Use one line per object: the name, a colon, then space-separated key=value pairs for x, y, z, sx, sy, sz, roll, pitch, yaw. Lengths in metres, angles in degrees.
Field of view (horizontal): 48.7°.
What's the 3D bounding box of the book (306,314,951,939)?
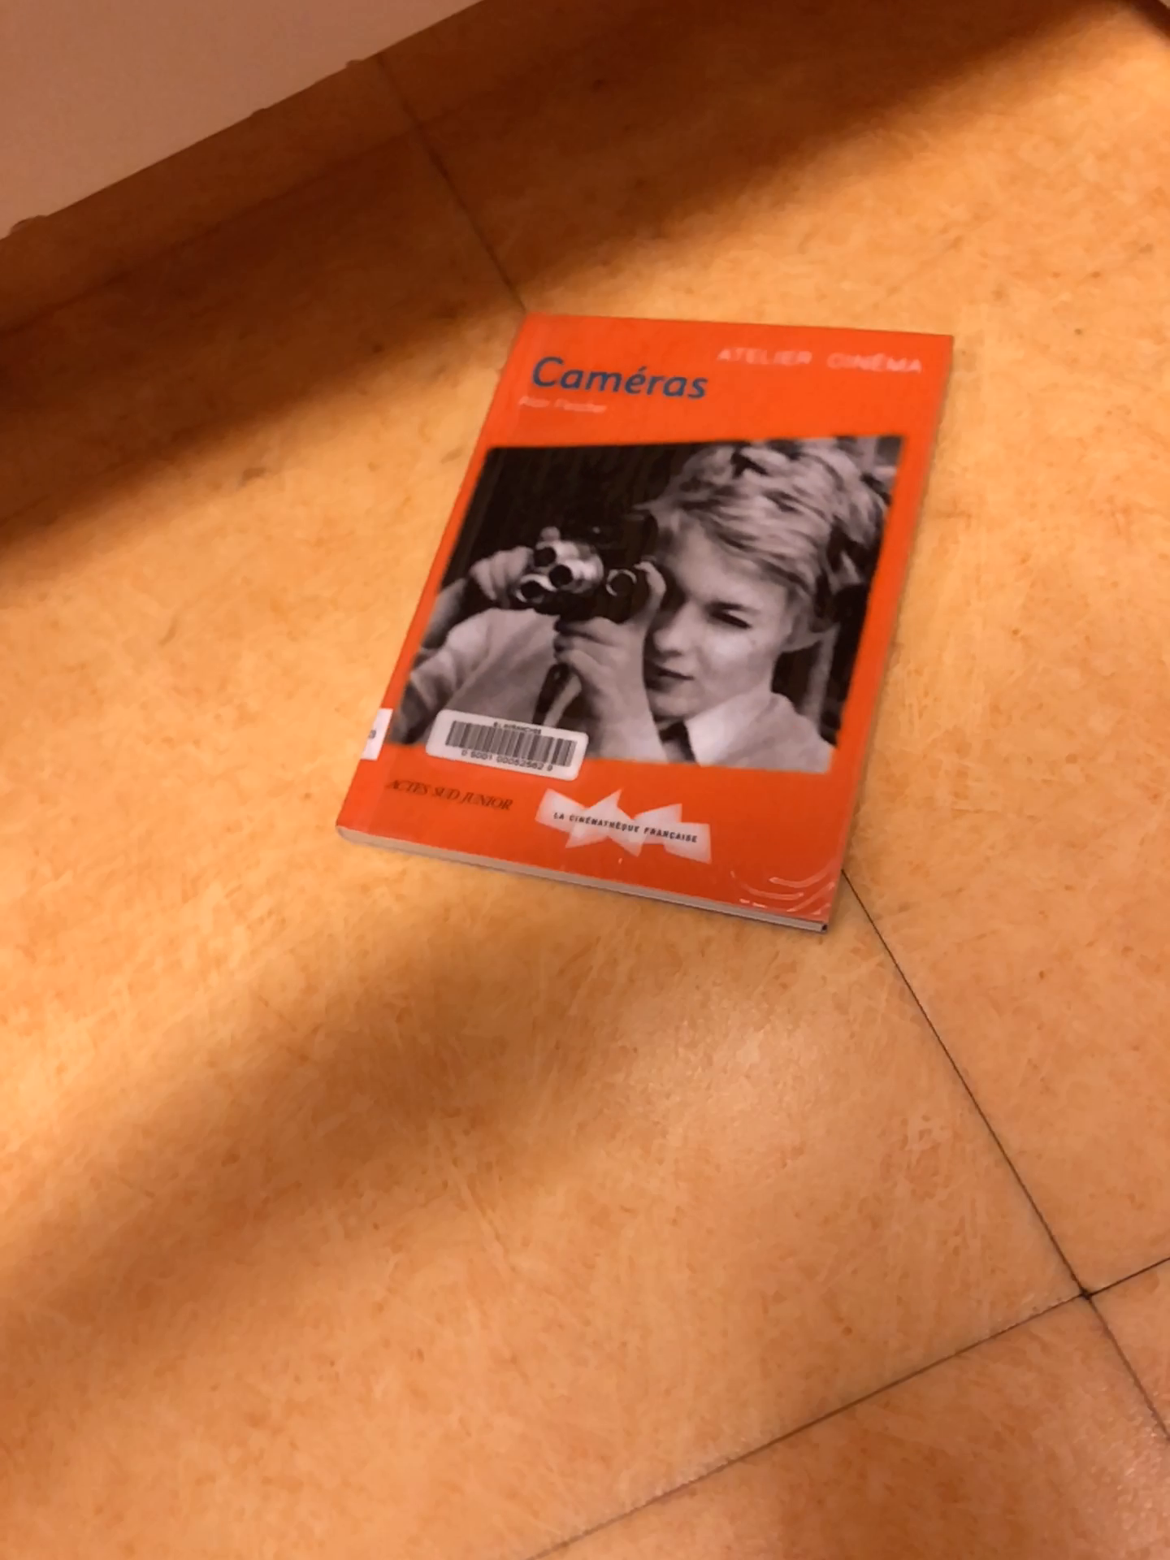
book: x=0.018 y=-0.063 z=0.407 sx=0.155 sy=0.011 sz=0.206 roll=9 pitch=66 yaw=19
